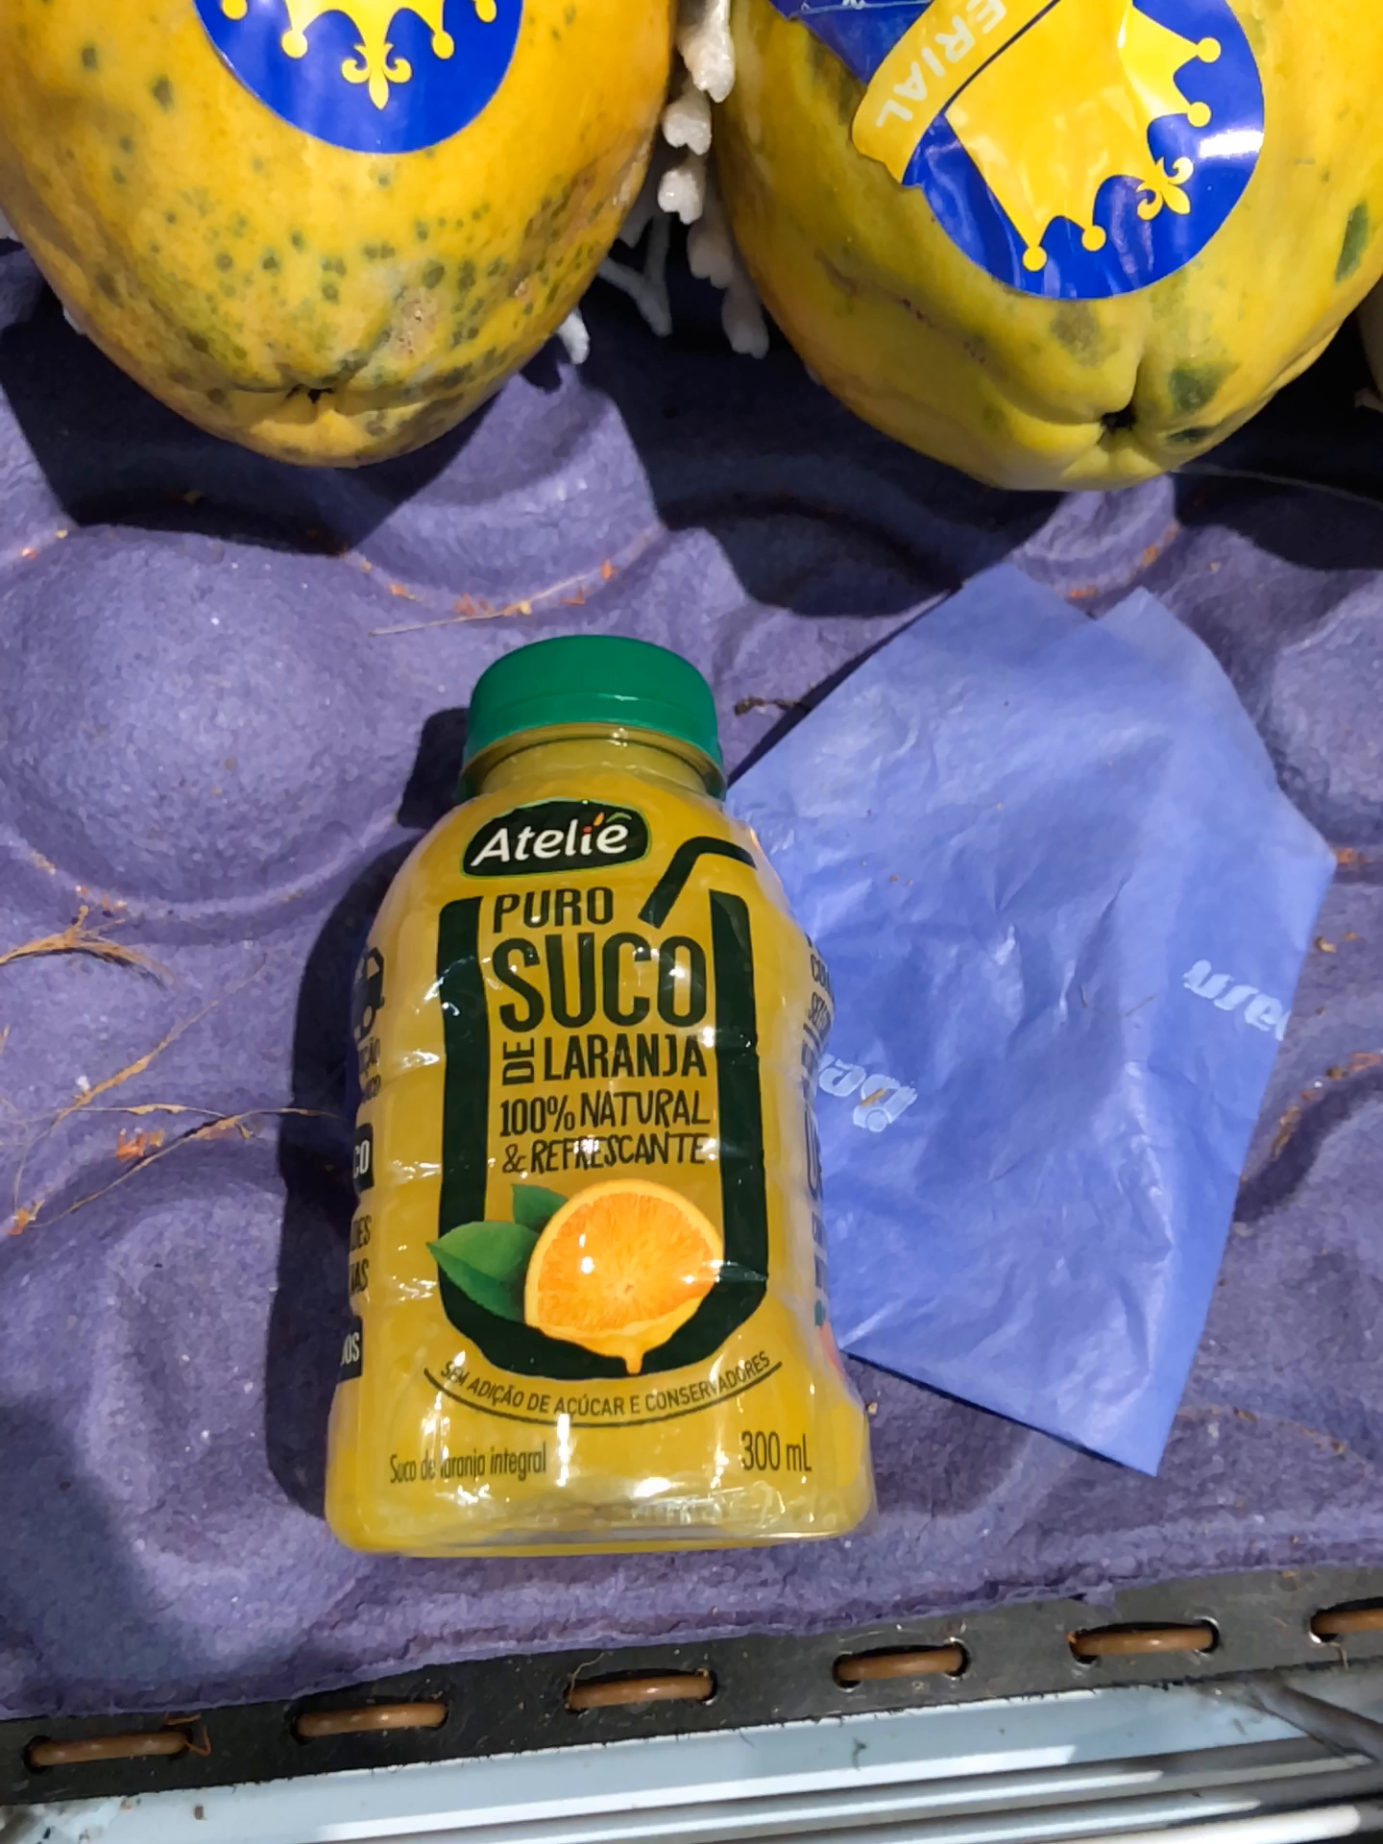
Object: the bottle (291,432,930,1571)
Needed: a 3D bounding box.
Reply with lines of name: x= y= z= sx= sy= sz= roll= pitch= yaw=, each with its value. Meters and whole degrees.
bottle: x=-0.014 y=0.011 z=0.218 sx=0.070 sy=0.060 sz=0.140 roll=0 pitch=73 yaw=-7
